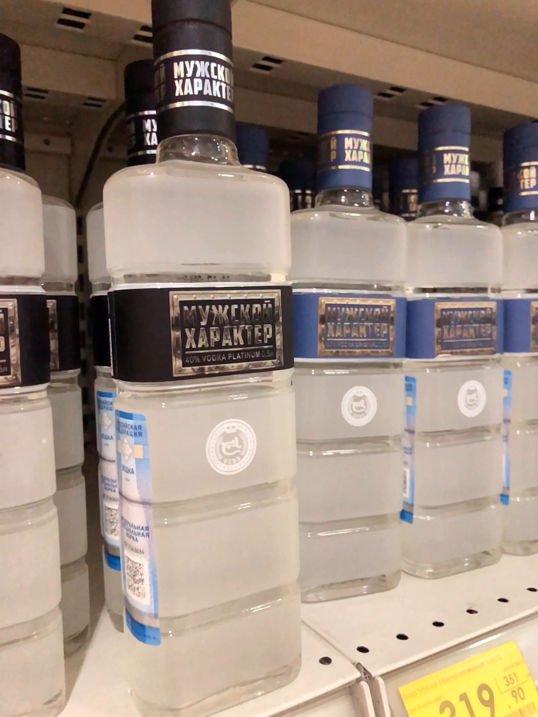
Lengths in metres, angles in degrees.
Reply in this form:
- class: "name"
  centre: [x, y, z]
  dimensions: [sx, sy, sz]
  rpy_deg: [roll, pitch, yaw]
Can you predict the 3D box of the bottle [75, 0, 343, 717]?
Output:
- class: "bottle"
  centre: [-0.025, -0.004, 0.250]
  dimensions: [0.090, 0.290, 0.060]
  rpy_deg: [-3, 5, -30]
